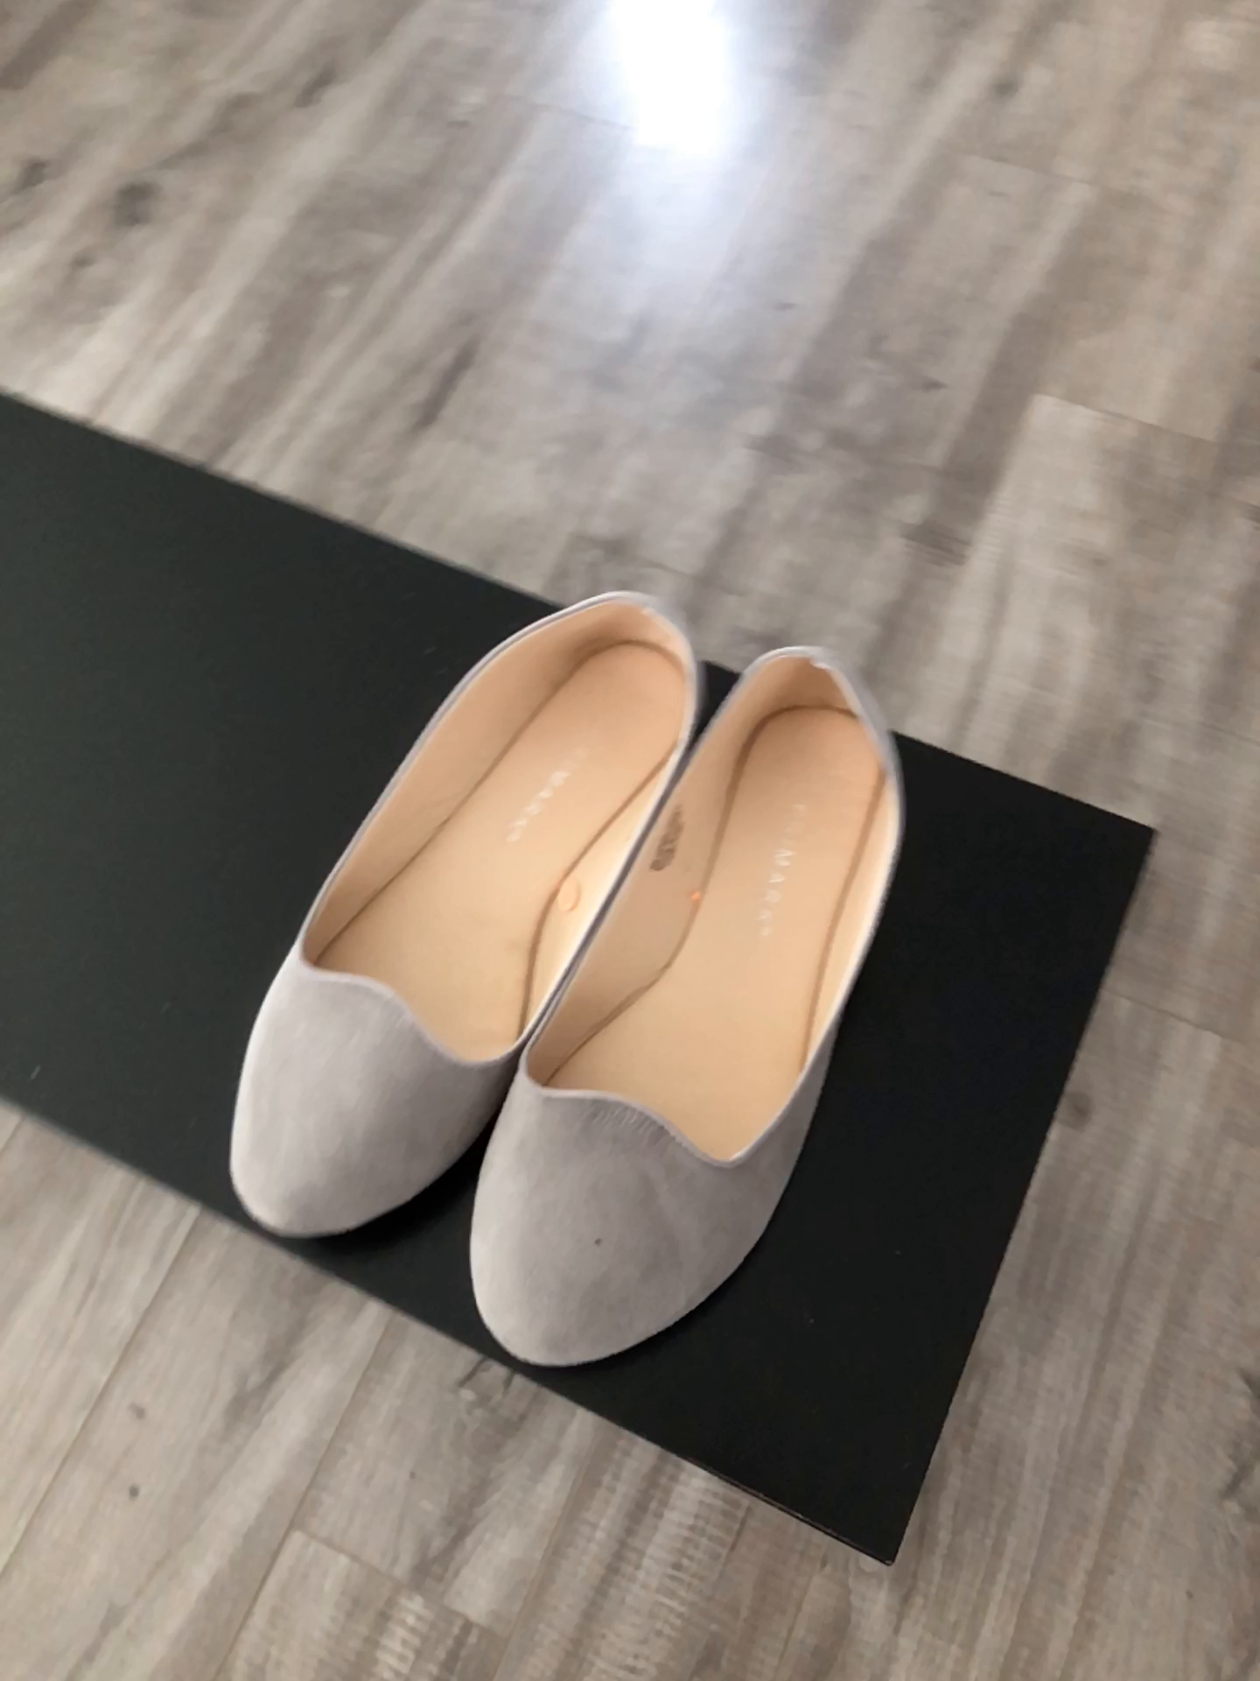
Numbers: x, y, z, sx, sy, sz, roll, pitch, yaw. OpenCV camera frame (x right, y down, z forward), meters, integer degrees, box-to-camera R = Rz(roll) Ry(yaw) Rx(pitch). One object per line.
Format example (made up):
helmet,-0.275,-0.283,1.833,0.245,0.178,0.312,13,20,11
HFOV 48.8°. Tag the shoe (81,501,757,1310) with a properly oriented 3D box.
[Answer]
shoe,-0.058,0.014,0.467,0.100,0.060,0.250,25,69,13

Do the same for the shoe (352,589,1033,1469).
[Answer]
shoe,0.028,0.051,0.445,0.100,0.060,0.256,25,69,13
